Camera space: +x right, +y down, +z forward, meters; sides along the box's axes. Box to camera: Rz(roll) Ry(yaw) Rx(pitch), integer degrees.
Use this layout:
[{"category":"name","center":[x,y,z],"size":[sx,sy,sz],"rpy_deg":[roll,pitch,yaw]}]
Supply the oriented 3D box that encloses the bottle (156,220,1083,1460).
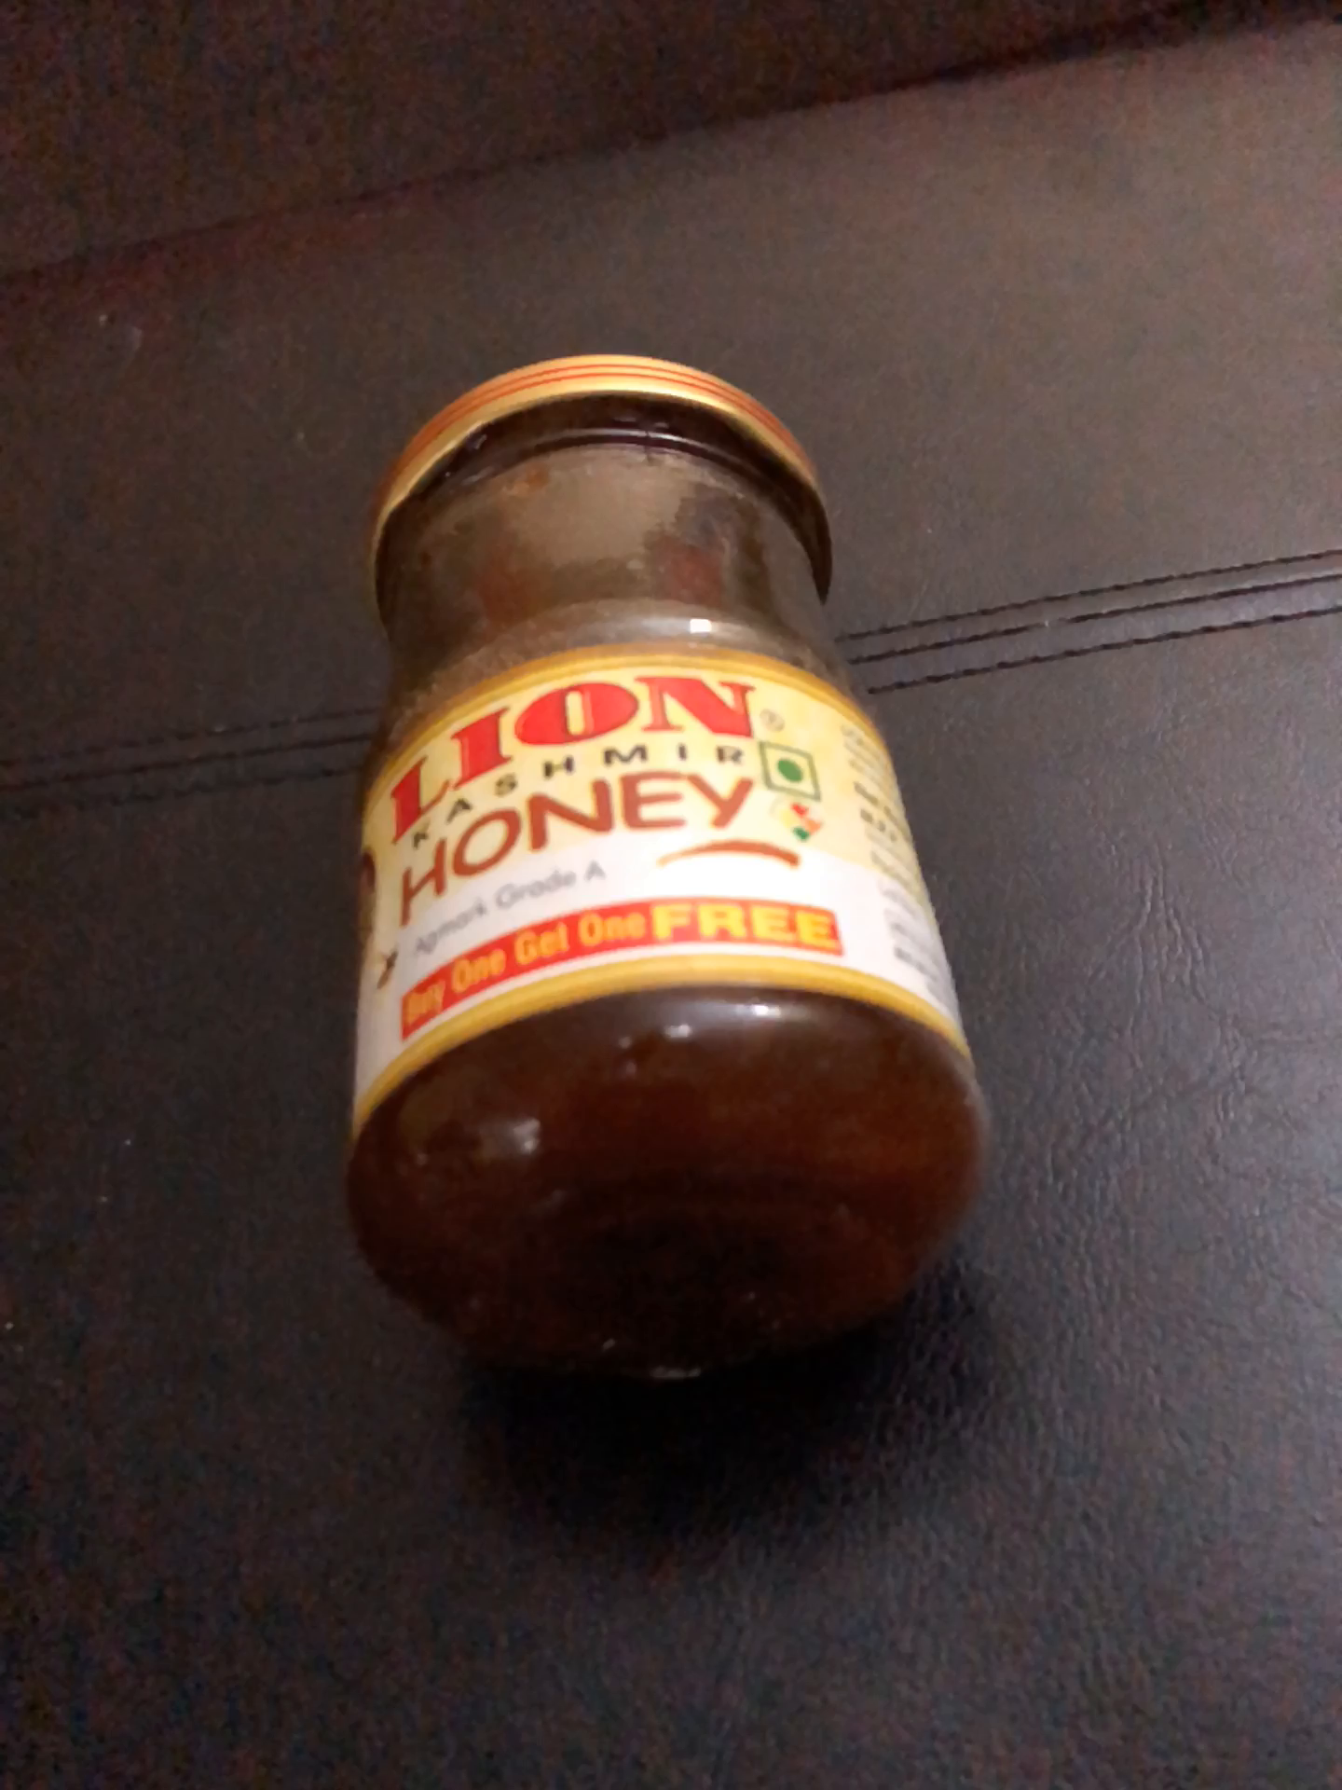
[{"category":"bottle","center":[-0.004,-0.007,0.173],"size":[0.068,0.070,0.110],"rpy_deg":[-14,51,9]}]
